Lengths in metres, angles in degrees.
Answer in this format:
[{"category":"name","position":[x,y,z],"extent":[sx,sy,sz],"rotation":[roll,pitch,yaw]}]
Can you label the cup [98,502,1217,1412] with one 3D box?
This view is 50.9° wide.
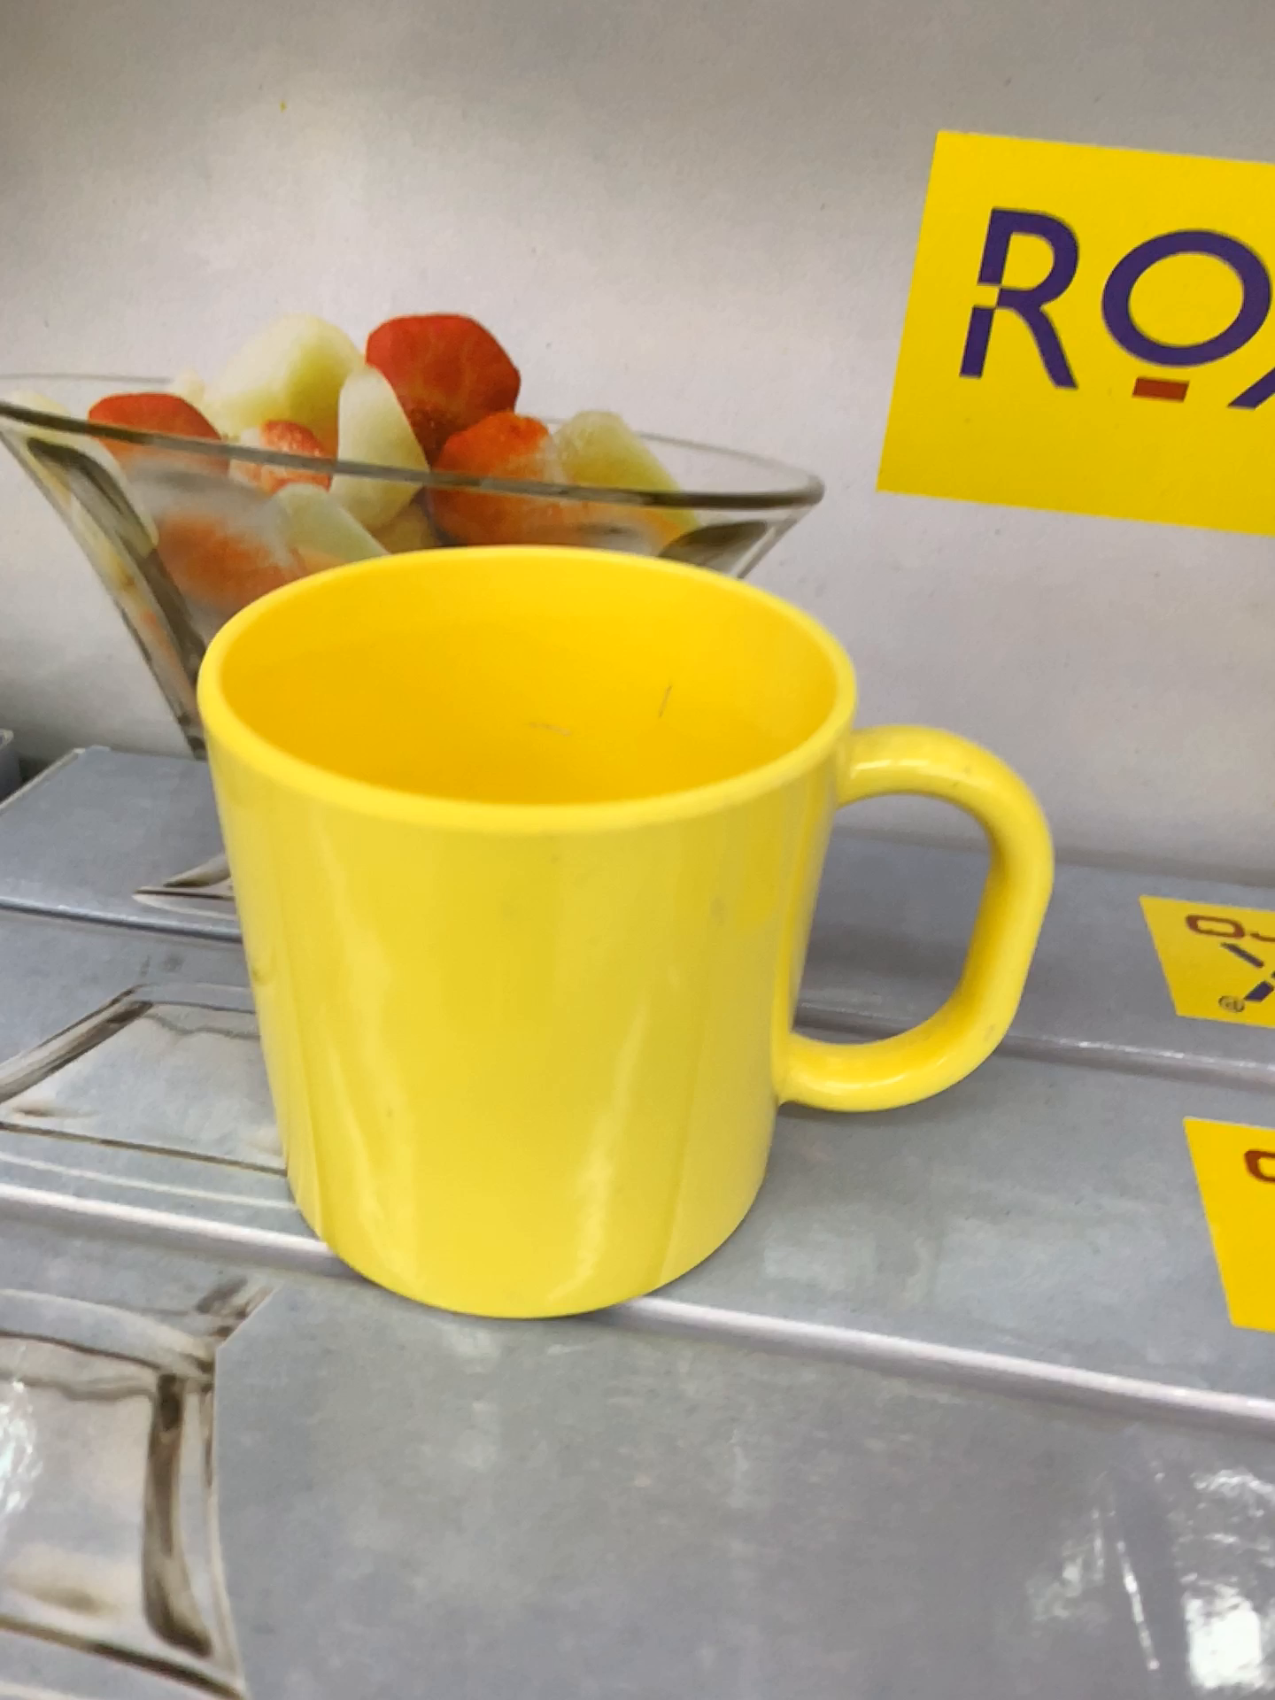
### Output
[{"category":"cup","position":[0.001,0.008,0.162],"extent":[0.095,0.069,0.072],"rotation":[7,32,2]}]
